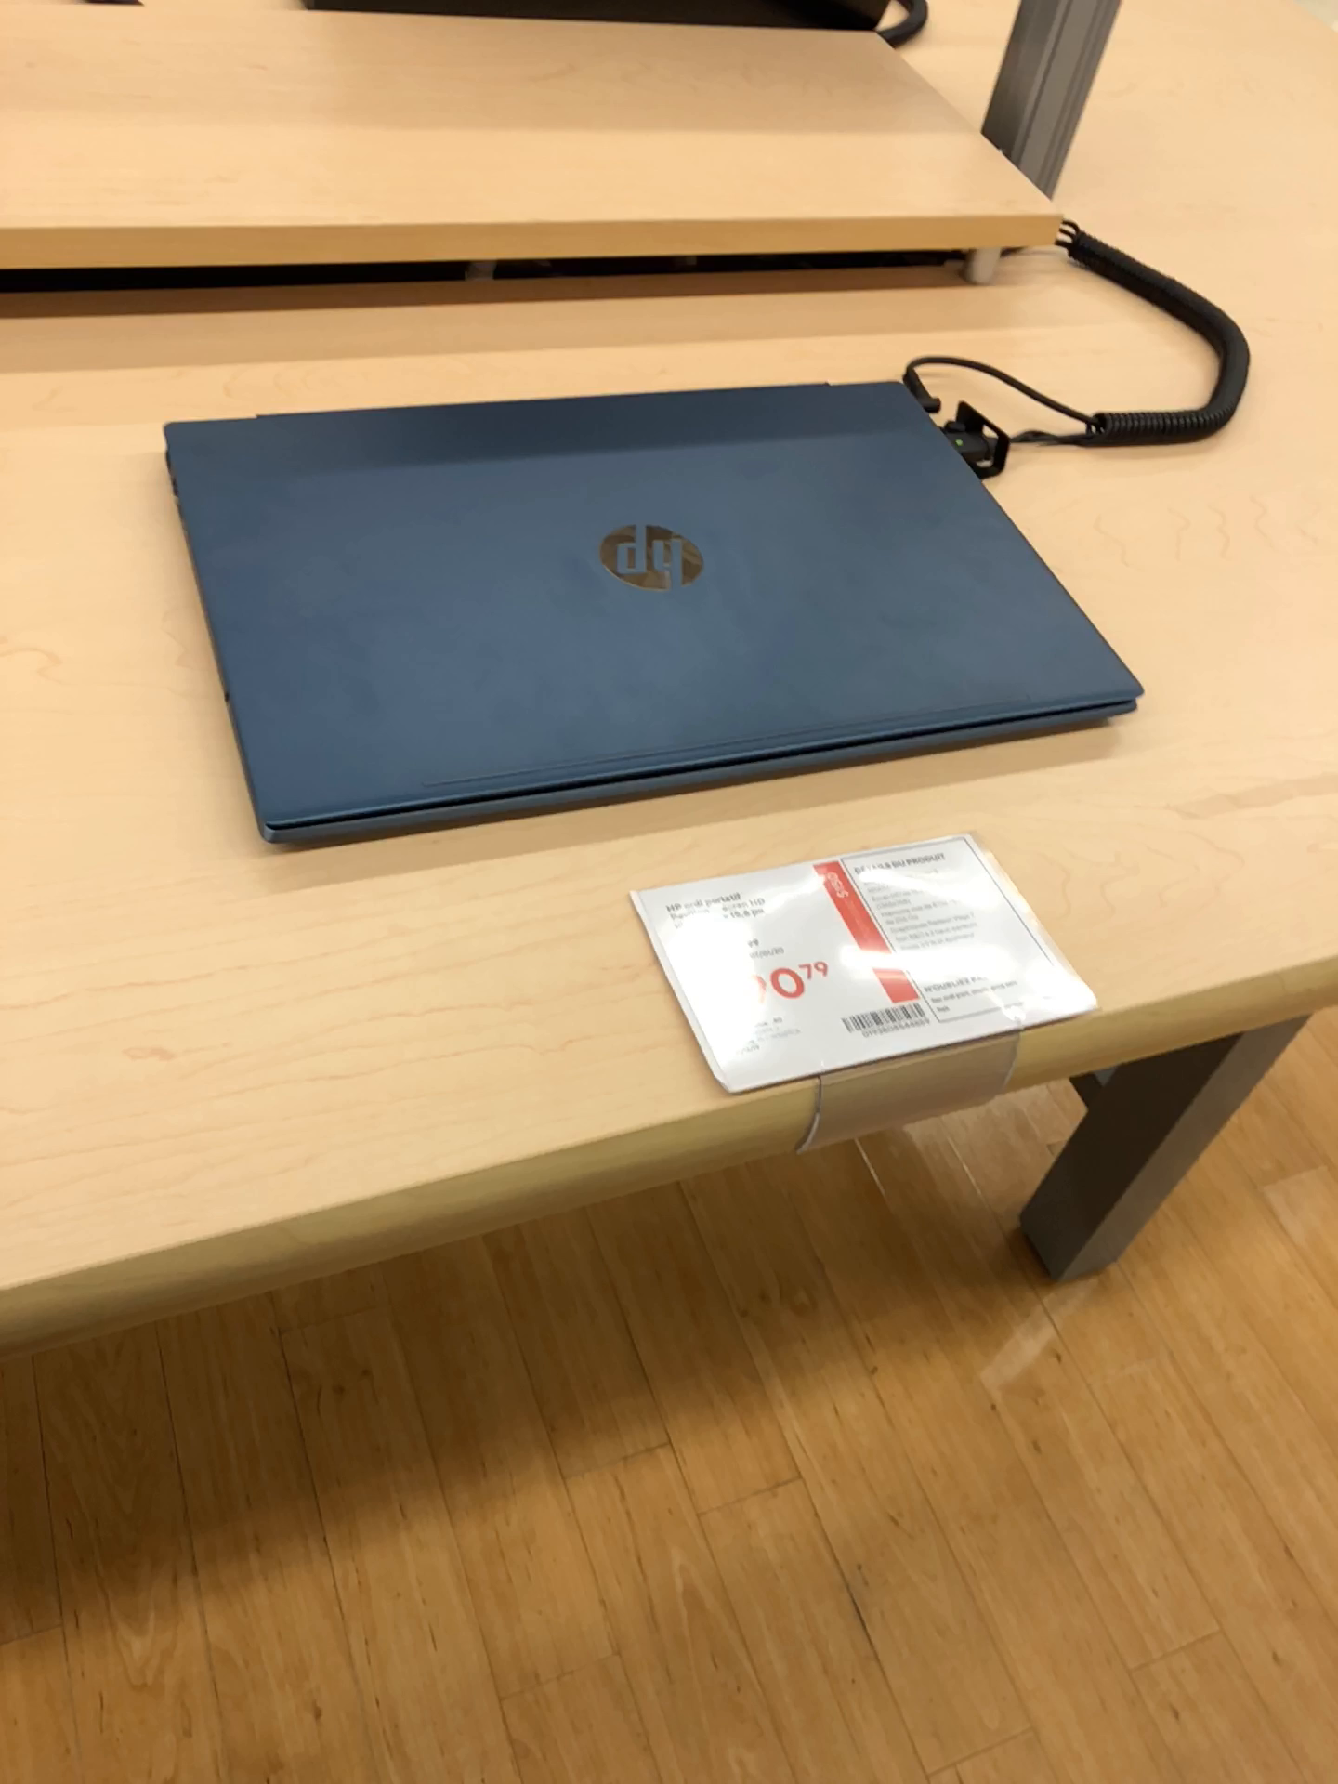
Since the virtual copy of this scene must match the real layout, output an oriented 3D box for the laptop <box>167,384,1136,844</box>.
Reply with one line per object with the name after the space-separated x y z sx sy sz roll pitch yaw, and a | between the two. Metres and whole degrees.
-0.009 -0.135 0.621 0.353 0.012 0.220 -10 55 -18 | laptop
